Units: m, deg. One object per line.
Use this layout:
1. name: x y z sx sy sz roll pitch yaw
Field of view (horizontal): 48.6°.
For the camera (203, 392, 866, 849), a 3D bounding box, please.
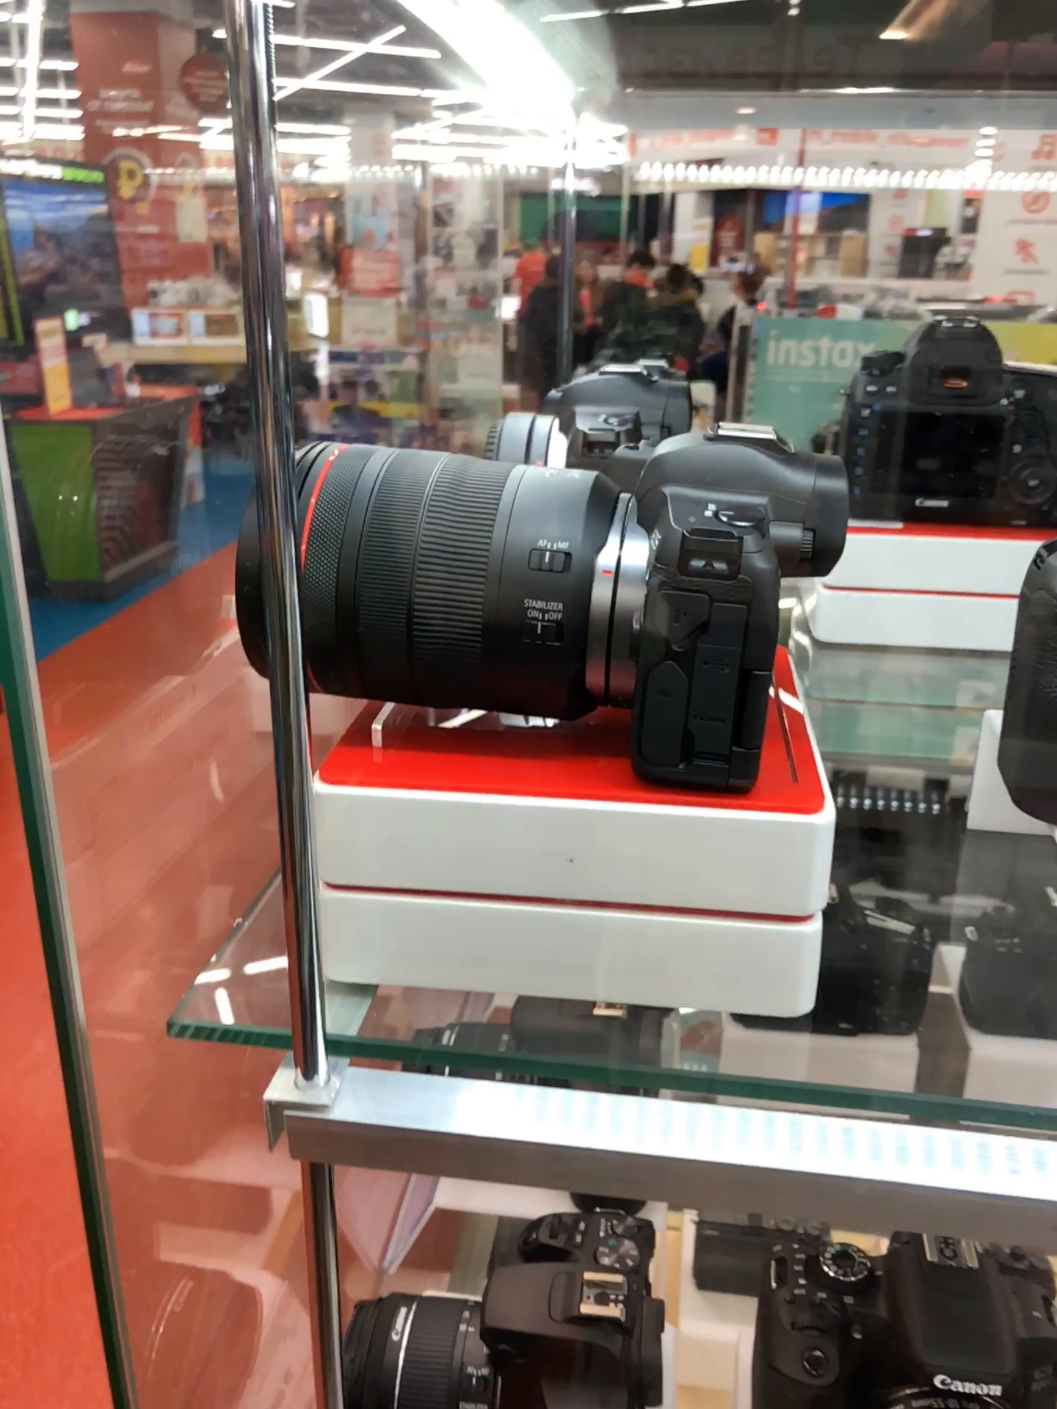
1. camera: 0.008 -0.041 0.403 0.183 0.110 0.141 4 21 8
